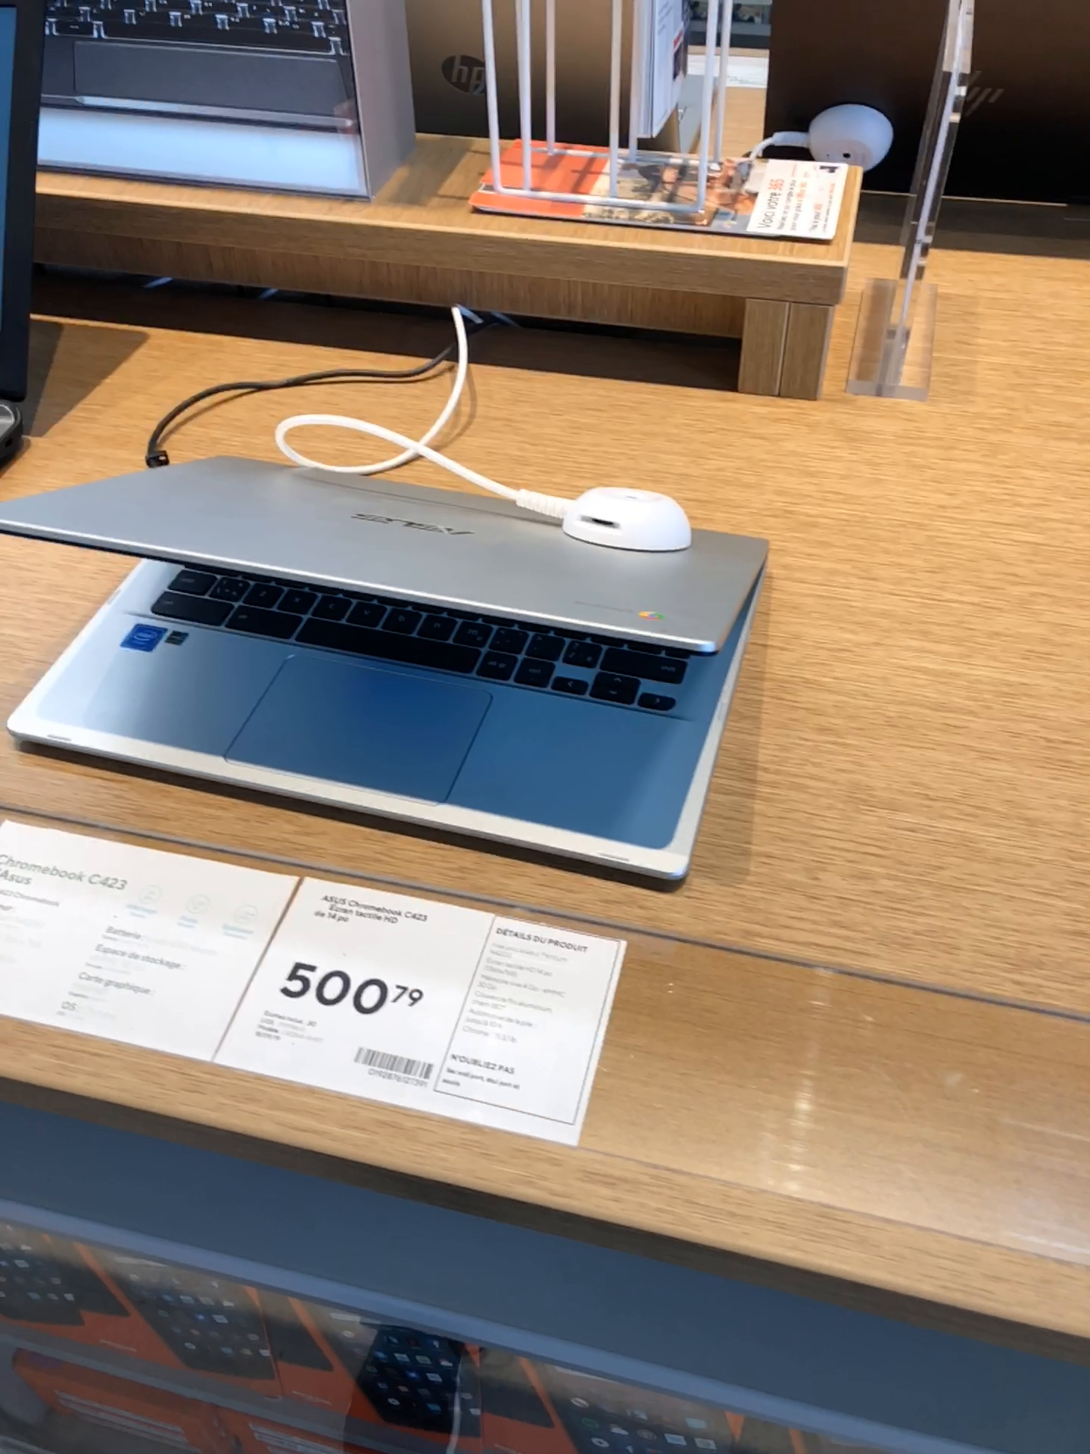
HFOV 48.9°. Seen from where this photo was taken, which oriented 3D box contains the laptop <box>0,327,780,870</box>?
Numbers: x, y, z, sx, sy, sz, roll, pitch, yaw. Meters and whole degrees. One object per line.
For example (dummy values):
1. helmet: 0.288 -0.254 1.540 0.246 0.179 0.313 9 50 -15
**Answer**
1. laptop: -0.064 -0.073 0.550 0.304 0.080 0.206 11 49 10
